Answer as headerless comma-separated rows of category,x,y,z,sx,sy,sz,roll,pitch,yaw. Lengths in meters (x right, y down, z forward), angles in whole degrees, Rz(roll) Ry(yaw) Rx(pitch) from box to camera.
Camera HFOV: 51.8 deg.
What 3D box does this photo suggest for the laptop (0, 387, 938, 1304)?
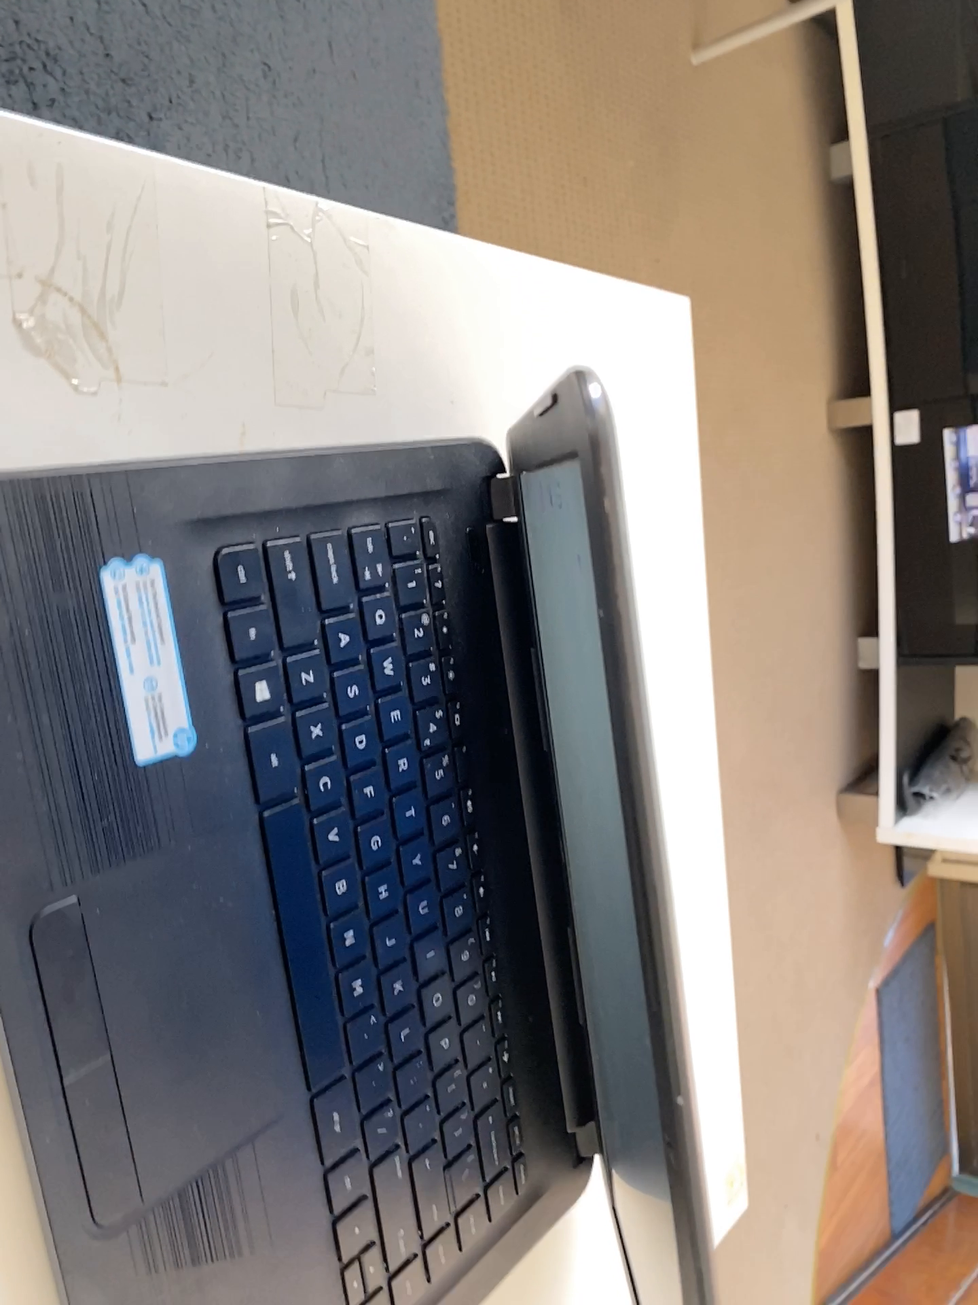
laptop,0.012,0.103,0.309,0.226,0.154,0.336,-17,103,-49
